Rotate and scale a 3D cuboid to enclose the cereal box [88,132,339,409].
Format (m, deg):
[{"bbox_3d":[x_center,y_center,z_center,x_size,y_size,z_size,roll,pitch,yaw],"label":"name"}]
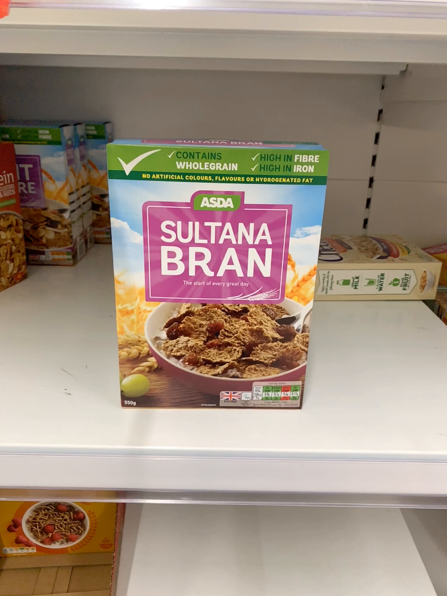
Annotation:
[{"bbox_3d":[-0.011,-0.022,0.468,0.210,0.268,0.071,1,22,-1],"label":"cereal box"}]
